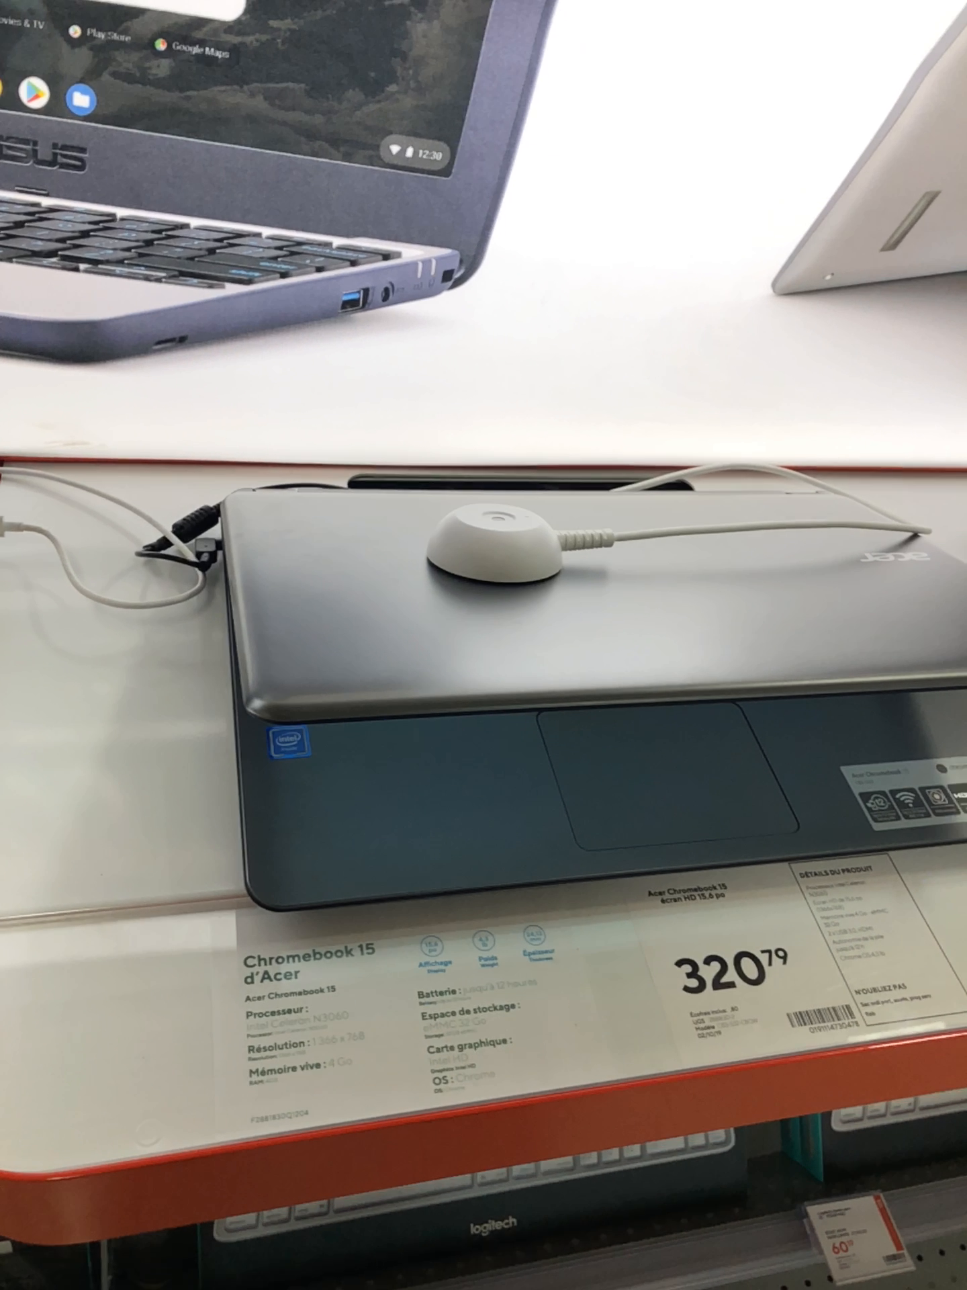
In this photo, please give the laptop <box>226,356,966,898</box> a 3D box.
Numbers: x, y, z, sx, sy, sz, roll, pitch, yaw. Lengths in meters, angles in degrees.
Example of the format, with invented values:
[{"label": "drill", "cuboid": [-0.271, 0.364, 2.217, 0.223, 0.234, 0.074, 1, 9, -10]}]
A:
[{"label": "laptop", "cuboid": [0.075, -0.027, 0.504, 0.369, 0.088, 0.249, -2, 44, -15]}]
